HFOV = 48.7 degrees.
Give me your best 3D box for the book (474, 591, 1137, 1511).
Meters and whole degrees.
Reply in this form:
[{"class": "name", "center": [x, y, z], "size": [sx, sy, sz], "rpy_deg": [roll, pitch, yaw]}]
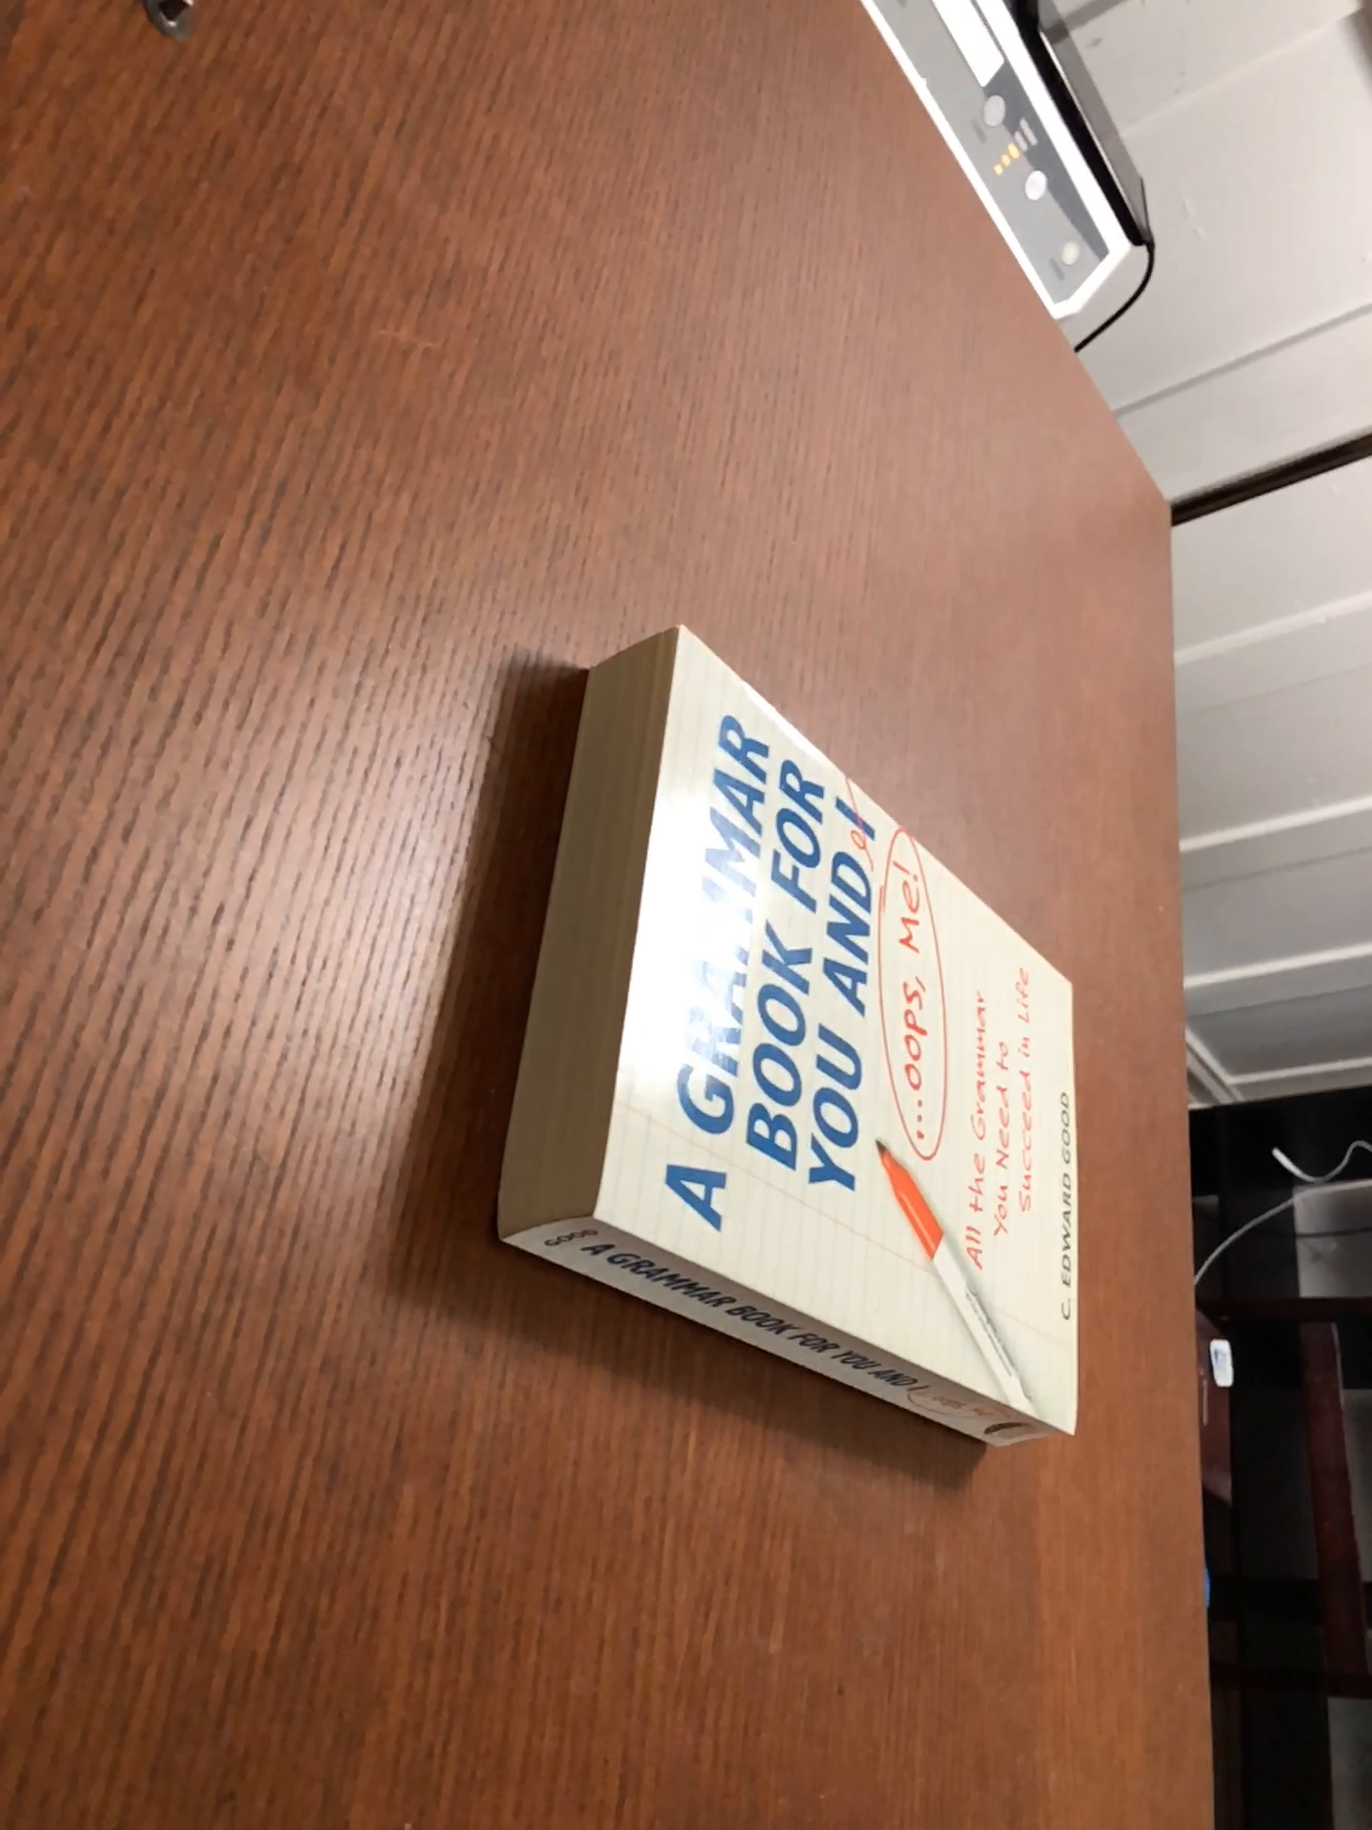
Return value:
[{"class": "book", "center": [0.055, 0.053, 0.417], "size": [0.241, 0.040, 0.170], "rpy_deg": [36, 51, -42]}]
